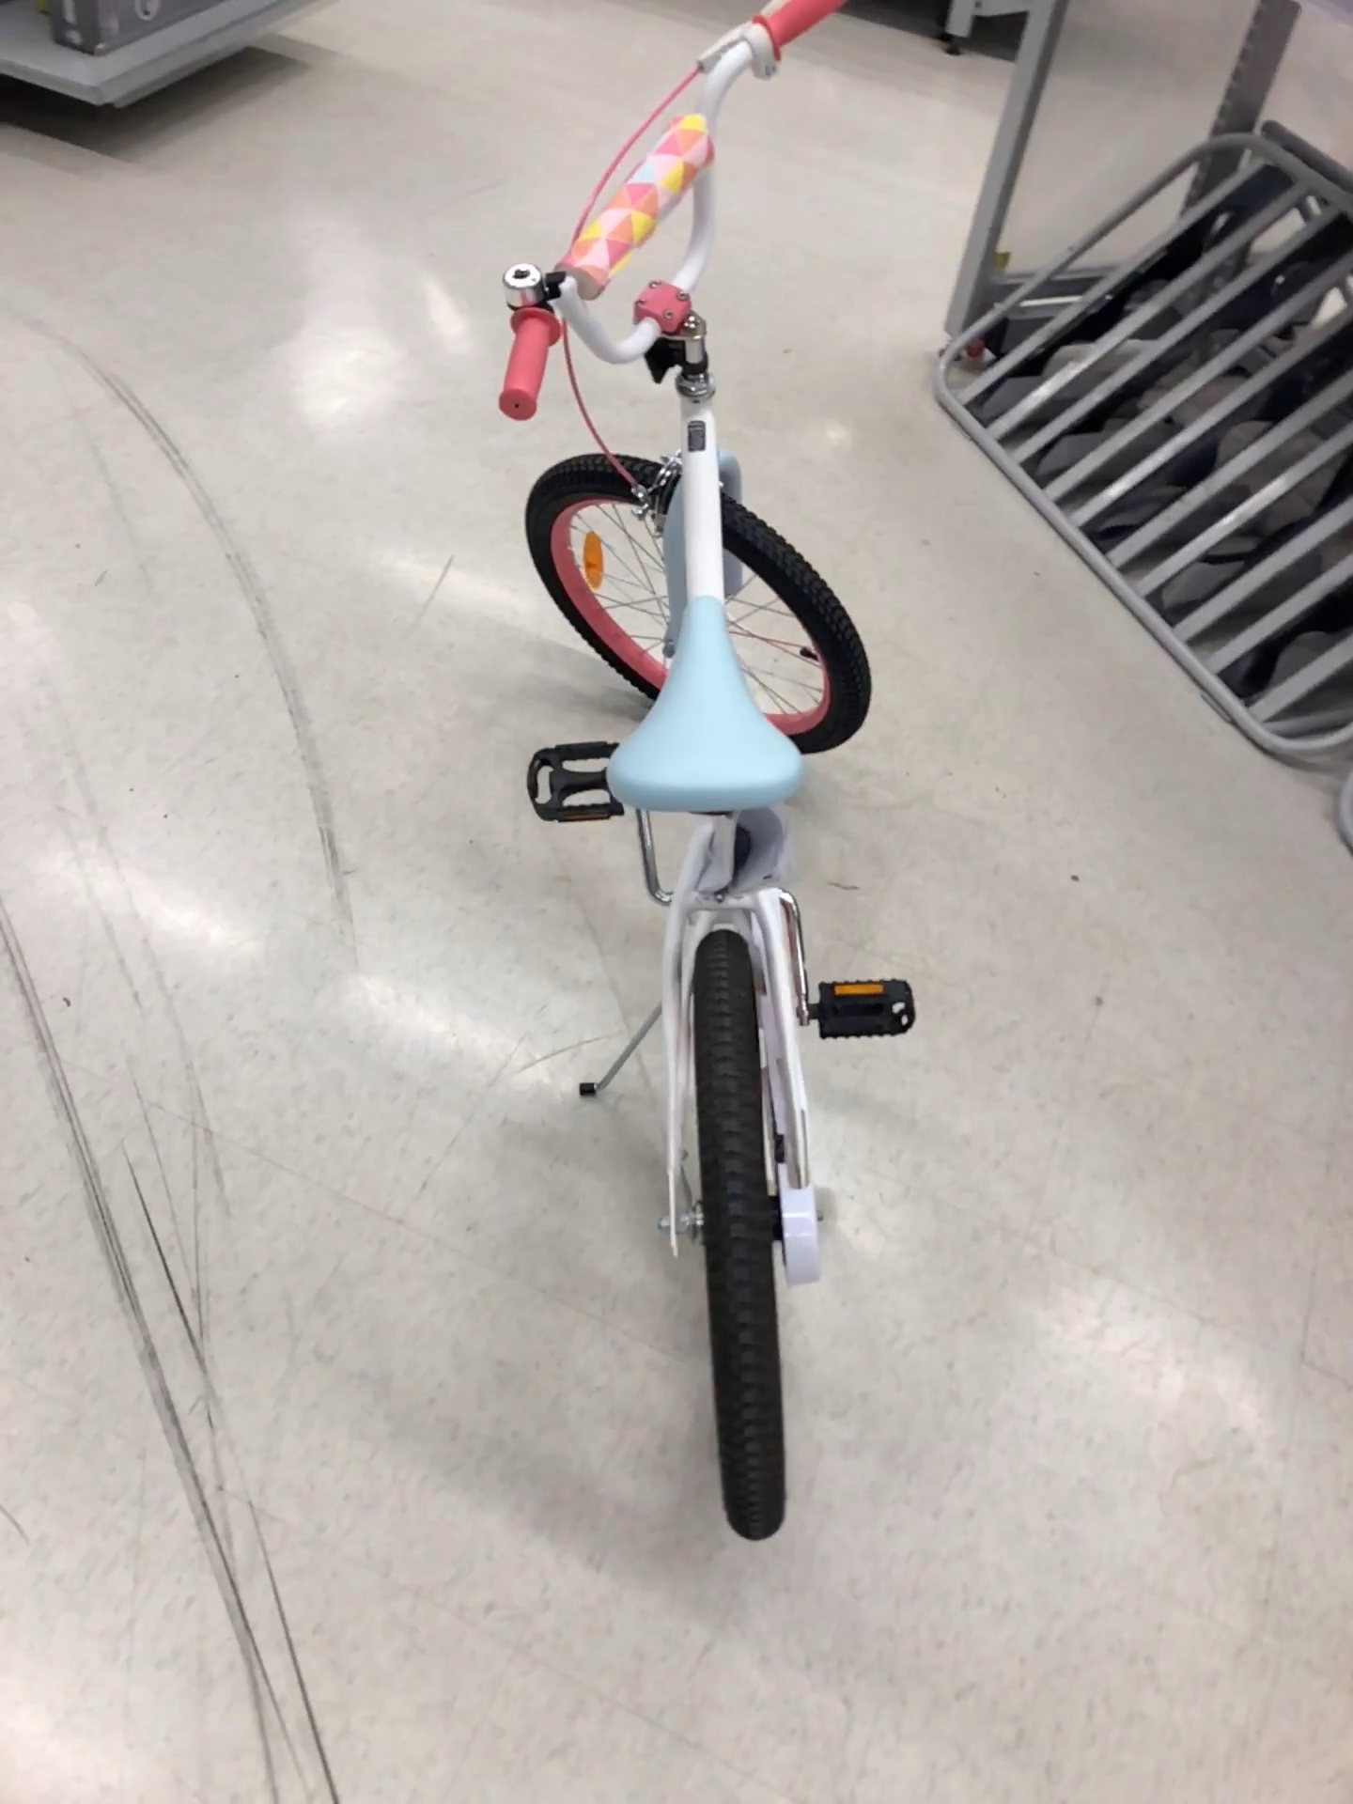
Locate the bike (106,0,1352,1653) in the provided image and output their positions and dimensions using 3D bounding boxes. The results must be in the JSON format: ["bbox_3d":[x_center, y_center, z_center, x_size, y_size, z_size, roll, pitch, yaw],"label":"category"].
[{"bbox_3d":[-0.053,-0.151,1.329,0.632,0.962,1.257,-2,47,-11],"label":"bike"}]
